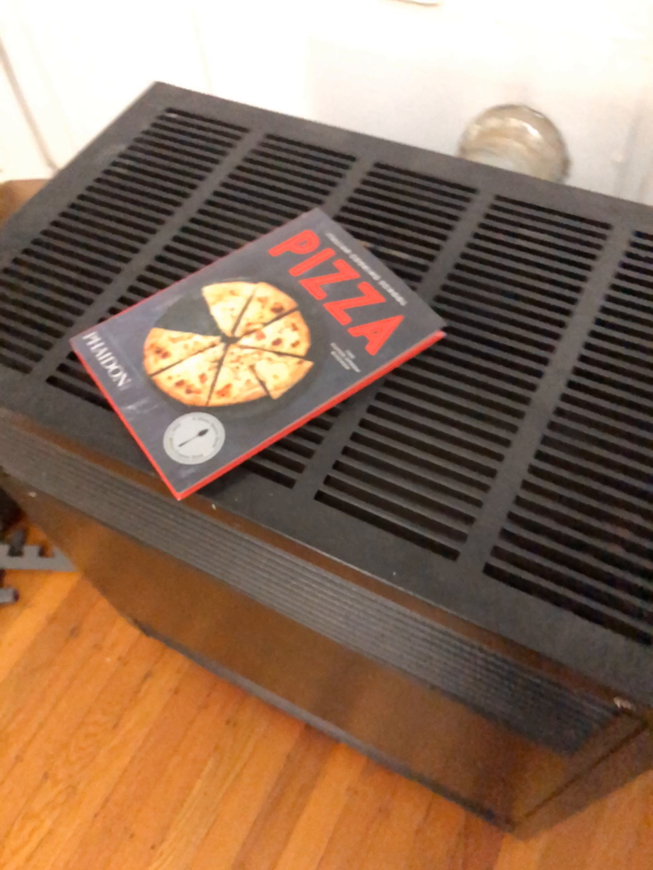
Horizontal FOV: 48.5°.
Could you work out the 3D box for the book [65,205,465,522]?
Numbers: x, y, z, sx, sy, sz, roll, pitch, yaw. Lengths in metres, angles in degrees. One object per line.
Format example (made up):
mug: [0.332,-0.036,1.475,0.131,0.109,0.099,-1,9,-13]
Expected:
book: [-0.047,-0.067,0.532,0.230,0.020,0.181,-32,59,-16]
